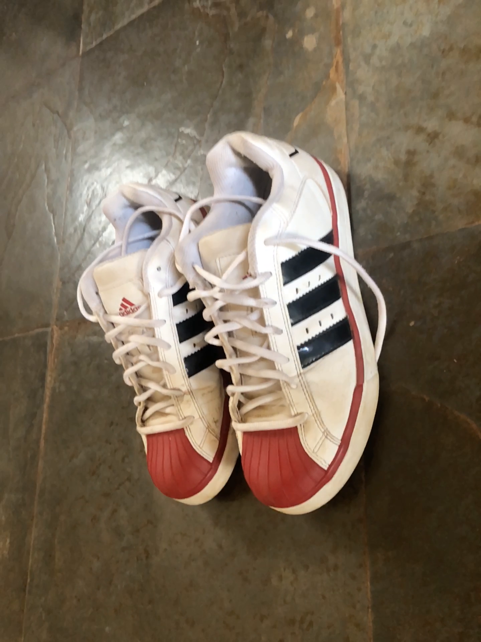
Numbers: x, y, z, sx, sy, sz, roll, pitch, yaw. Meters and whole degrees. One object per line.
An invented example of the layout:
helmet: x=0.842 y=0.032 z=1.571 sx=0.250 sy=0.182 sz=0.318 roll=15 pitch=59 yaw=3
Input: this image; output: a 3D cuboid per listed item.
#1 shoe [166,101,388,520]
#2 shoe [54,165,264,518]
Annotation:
shoe: x=0.026 y=0.000 z=0.402 sx=0.110 sy=0.110 sz=0.270 roll=-12 pitch=70 yaw=35
shoe: x=-0.070 y=0.027 z=0.475 sx=0.110 sy=0.130 sz=0.271 roll=-16 pitch=69 yaw=34
